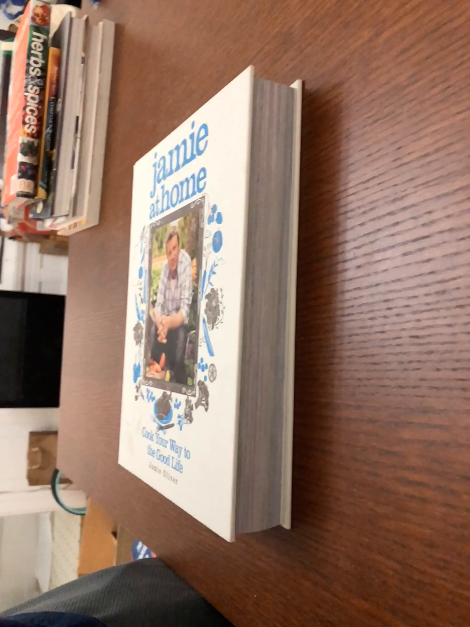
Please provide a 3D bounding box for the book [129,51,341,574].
[{"bbox_3d":[-0.016,0.000,0.360,0.211,0.040,0.260,-4,82,62],"label":"book"}]
